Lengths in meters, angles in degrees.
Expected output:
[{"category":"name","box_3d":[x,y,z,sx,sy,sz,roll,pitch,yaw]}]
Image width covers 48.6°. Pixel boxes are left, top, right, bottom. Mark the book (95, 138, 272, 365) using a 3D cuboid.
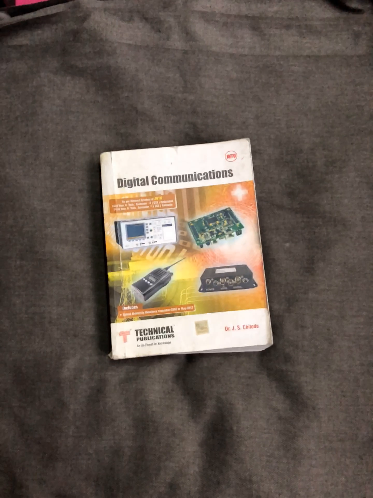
[{"category":"book","box_3d":[-0.006,0.002,0.486,0.181,0.050,0.241,-5,82,2]}]
